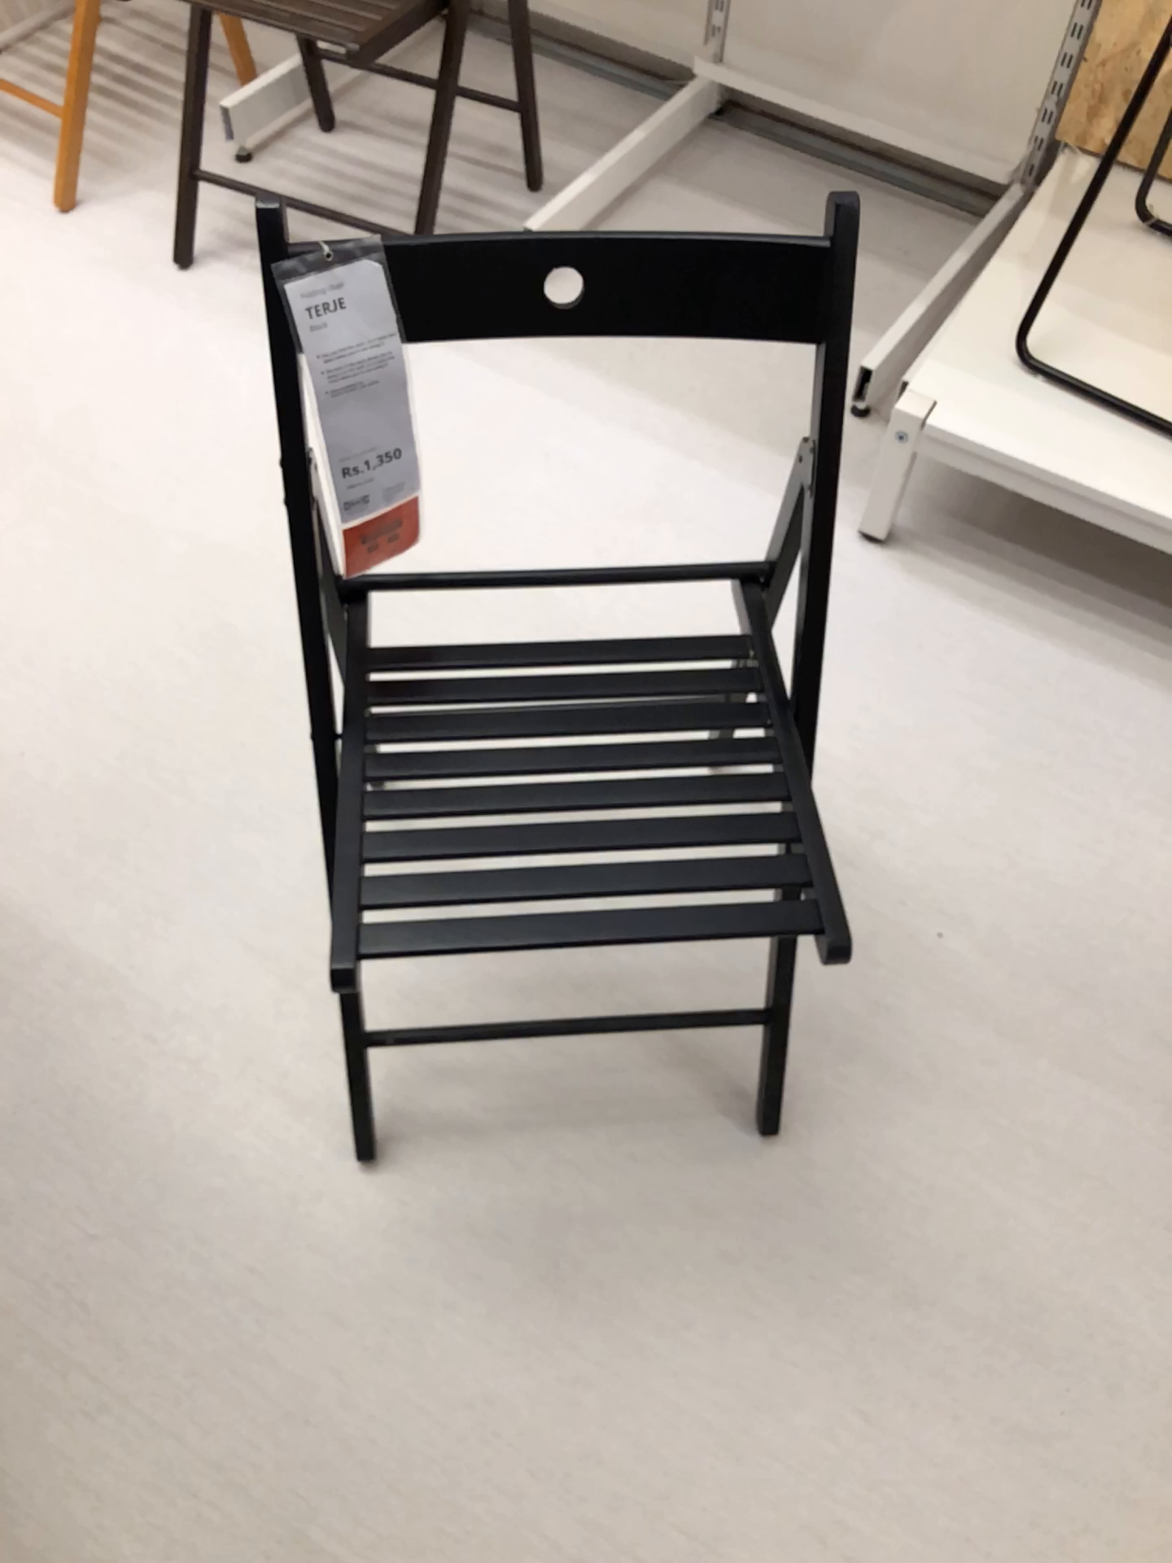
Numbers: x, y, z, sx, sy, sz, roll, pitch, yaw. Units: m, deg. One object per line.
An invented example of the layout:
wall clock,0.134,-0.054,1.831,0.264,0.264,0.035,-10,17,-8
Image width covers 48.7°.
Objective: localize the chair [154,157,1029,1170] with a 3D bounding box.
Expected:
chair,-0.024,-0.040,1.083,0.440,0.726,0.482,-2,56,-4
